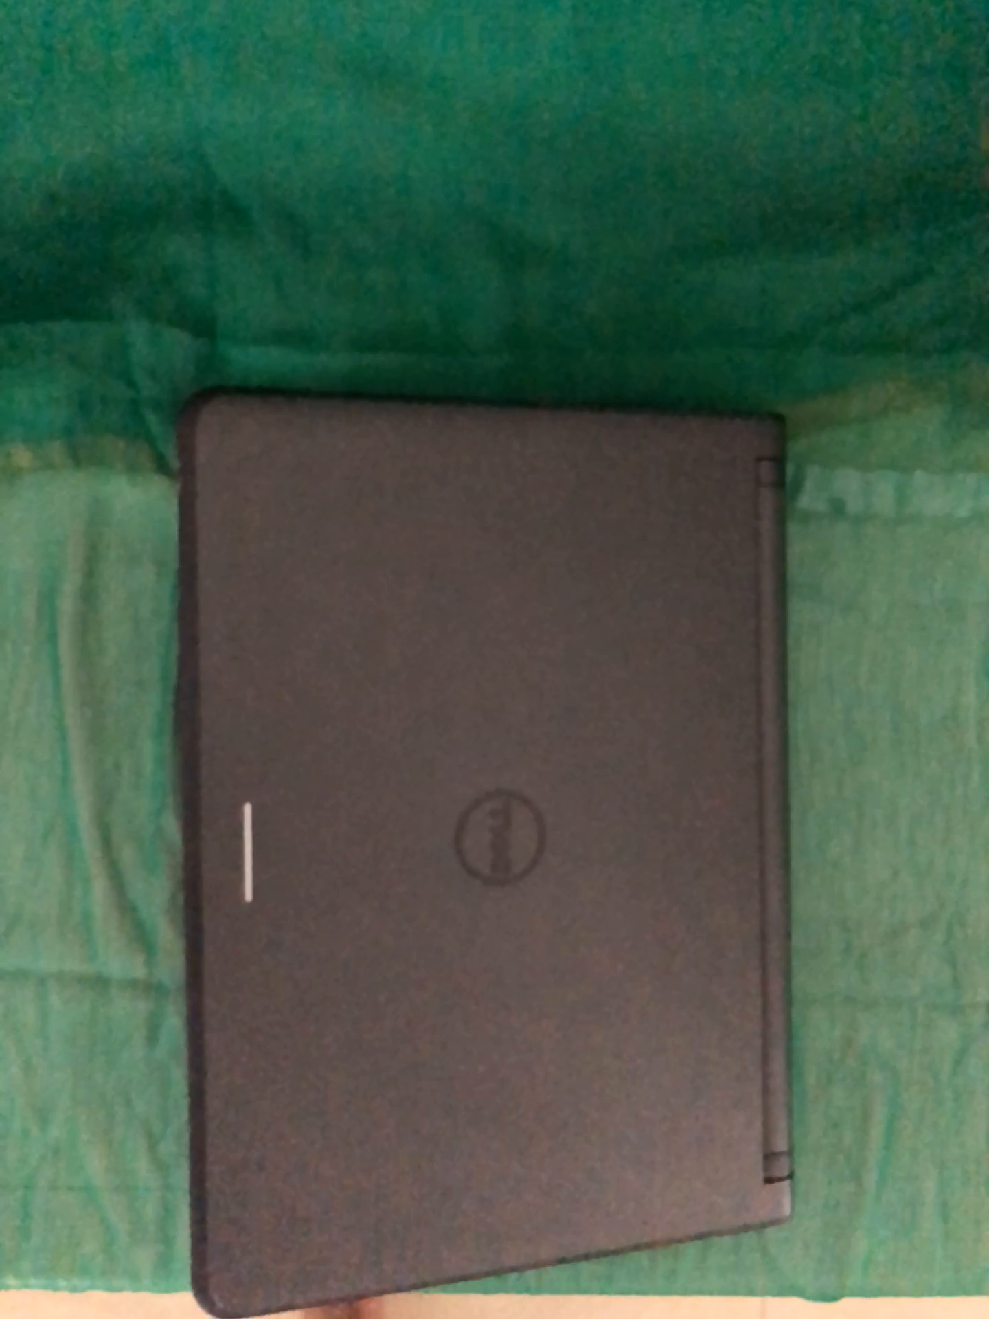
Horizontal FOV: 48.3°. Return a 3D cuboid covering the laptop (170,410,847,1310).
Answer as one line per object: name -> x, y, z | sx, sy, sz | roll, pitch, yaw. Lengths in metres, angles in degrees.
laptop -> 0.004, 0.068, 0.415 | 0.229, 0.065, 0.305 | -1, 90, -2
